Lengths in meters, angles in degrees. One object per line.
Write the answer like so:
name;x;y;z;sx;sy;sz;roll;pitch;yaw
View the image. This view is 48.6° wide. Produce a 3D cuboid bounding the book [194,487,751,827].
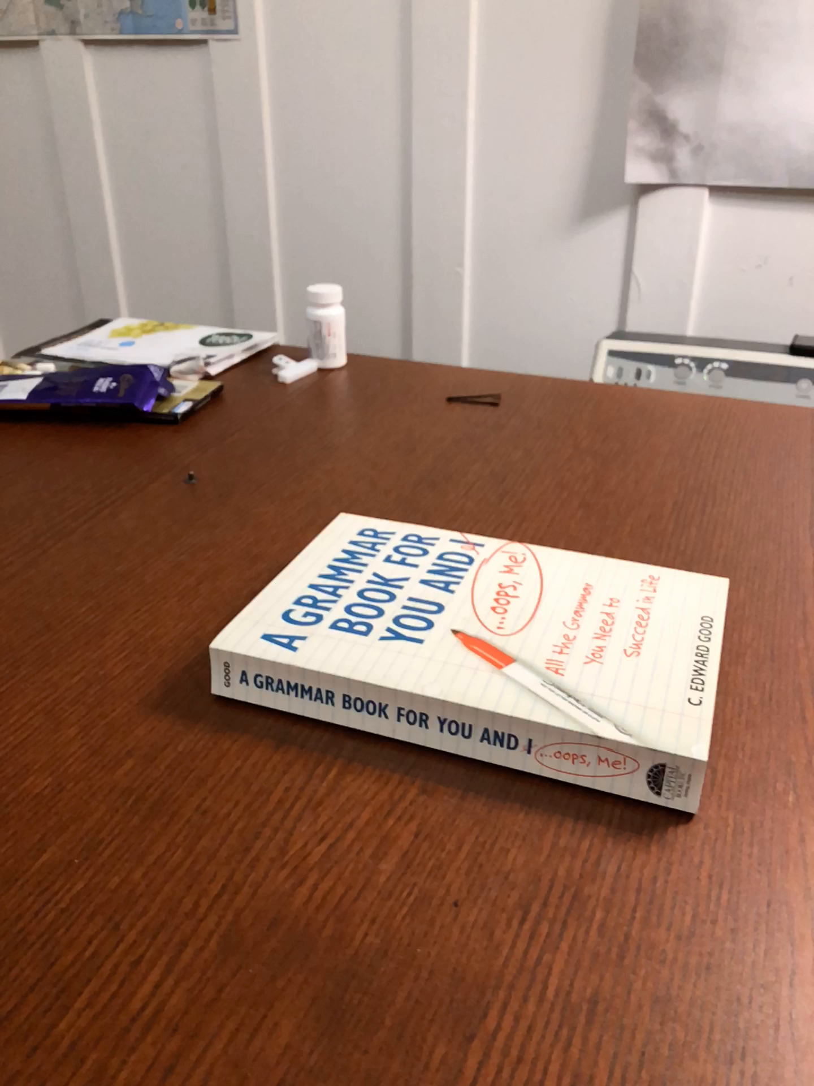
book;0.043;0.040;0.460;0.240;0.040;0.171;10;29;18
